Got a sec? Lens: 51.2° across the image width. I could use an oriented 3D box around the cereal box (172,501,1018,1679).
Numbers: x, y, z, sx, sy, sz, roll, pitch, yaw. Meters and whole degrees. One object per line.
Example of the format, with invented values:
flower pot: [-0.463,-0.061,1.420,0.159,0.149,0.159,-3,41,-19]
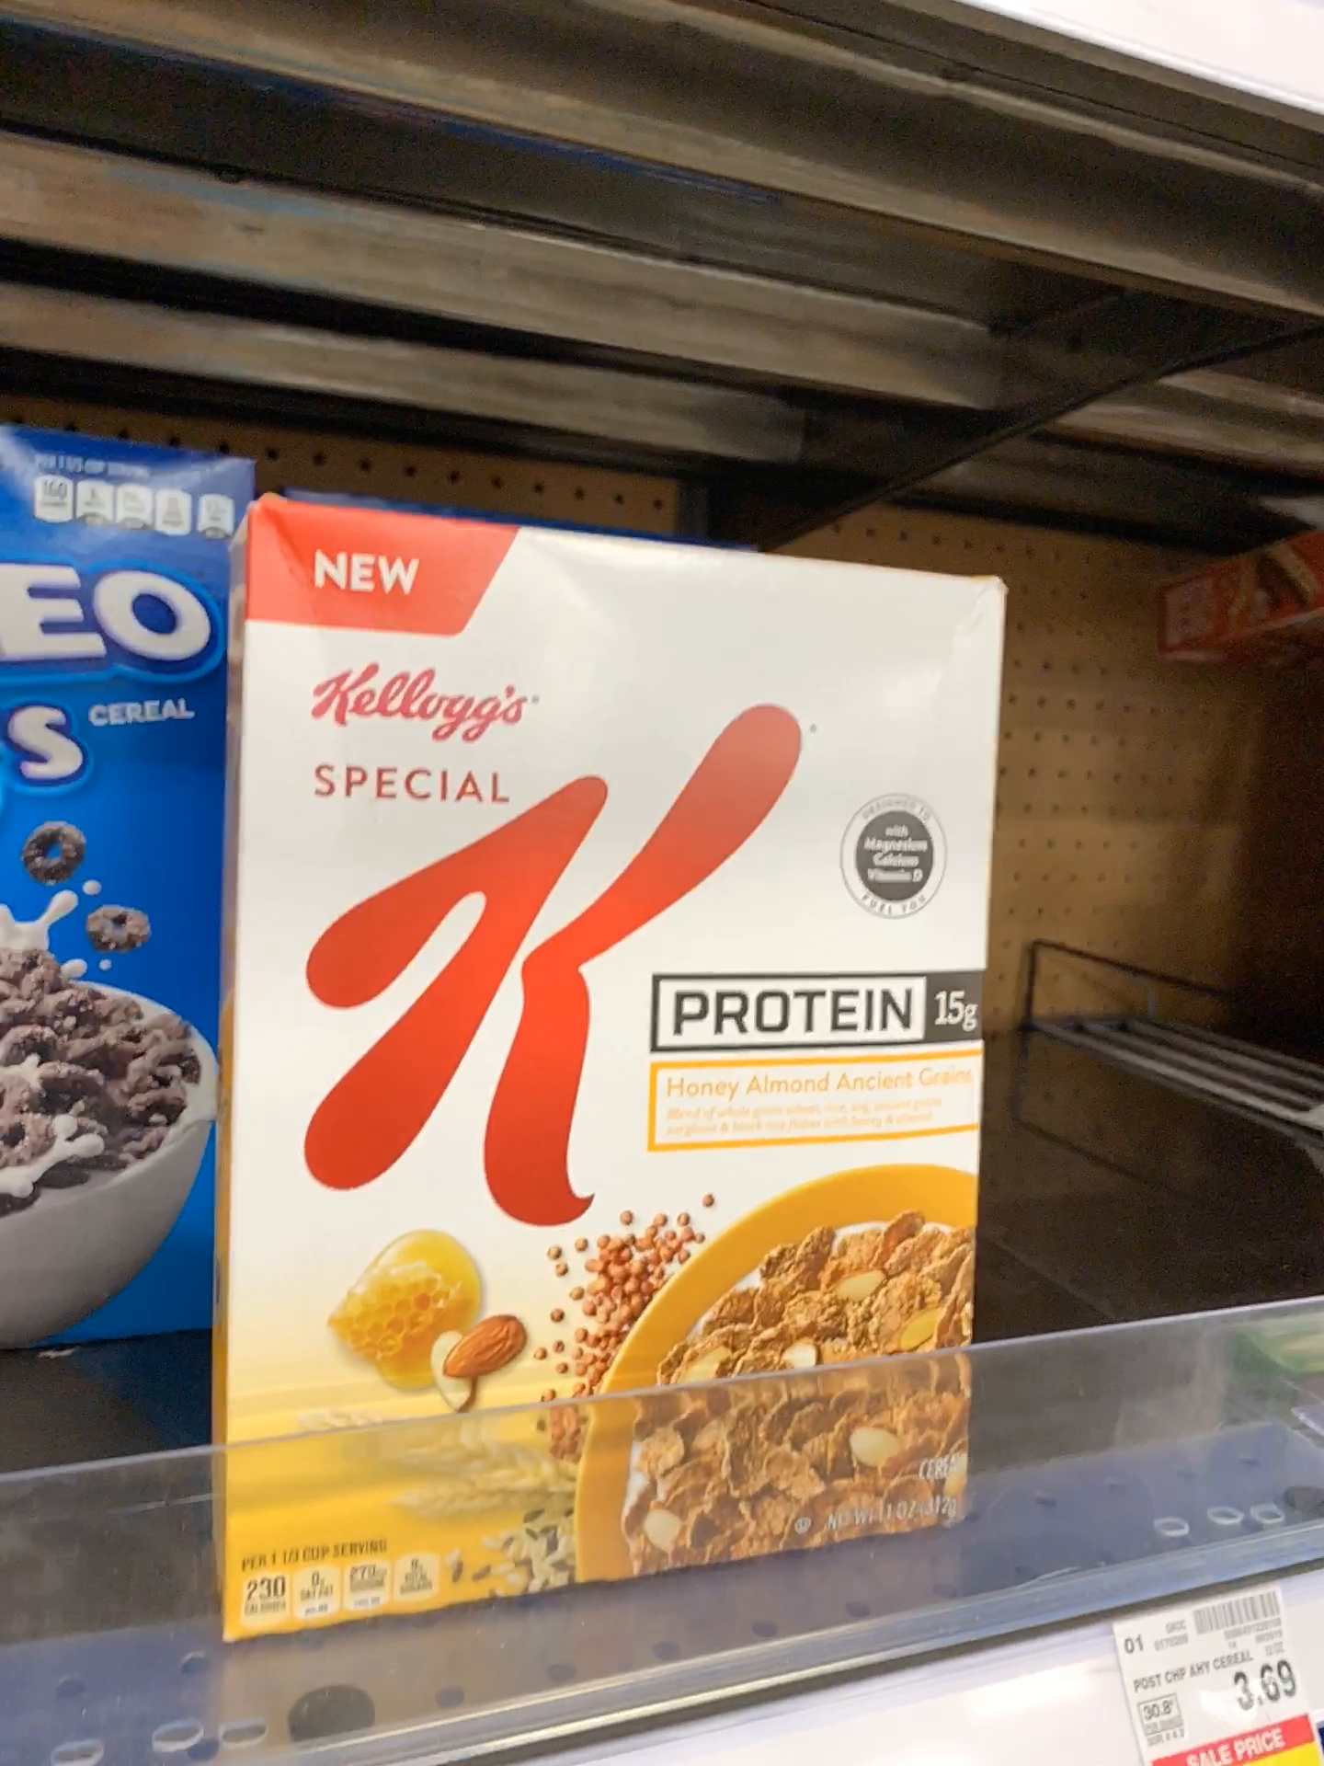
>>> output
cereal box: [-0.014,0.045,0.343,0.200,0.250,0.040,1,3,-20]
